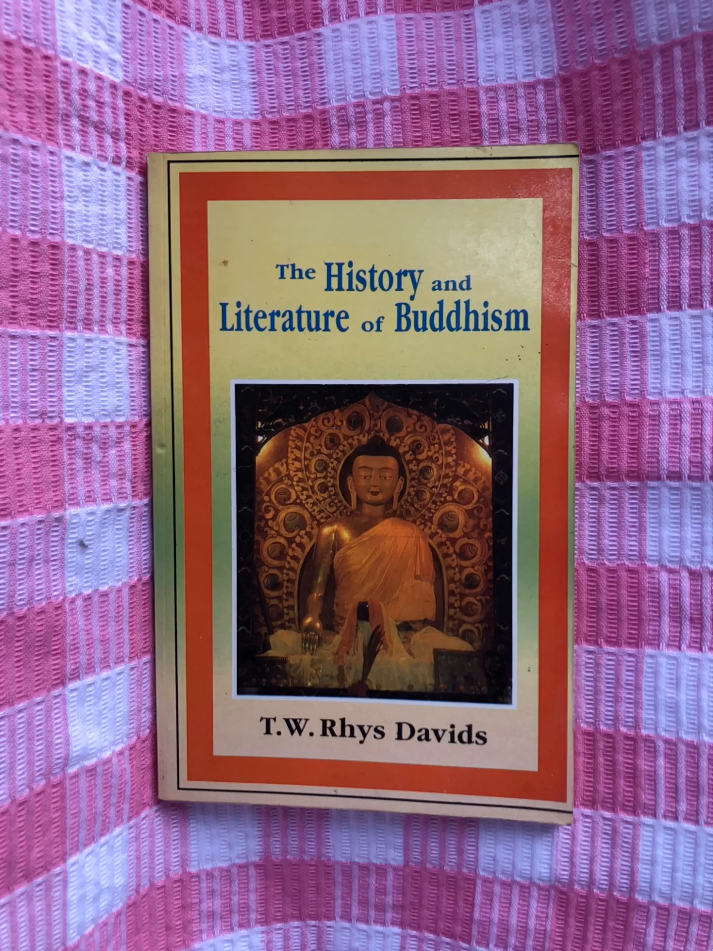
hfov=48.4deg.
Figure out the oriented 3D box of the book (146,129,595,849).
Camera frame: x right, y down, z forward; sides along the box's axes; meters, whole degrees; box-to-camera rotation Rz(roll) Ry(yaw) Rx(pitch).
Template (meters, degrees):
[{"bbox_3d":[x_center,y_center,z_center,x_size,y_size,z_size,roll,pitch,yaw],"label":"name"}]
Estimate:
[{"bbox_3d":[0.002,0.005,0.261,0.020,0.140,0.220,-21,112,-81],"label":"book"}]
